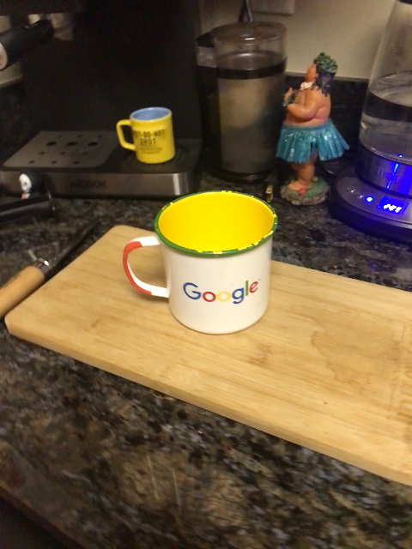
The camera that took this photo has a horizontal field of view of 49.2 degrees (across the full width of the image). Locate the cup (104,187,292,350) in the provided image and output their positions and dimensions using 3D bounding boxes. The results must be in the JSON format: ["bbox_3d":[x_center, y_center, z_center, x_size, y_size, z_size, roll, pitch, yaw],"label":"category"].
[{"bbox_3d":[-0.004,-0.007,0.378,0.130,0.089,0.101,-3,37,1],"label":"cup"}]
